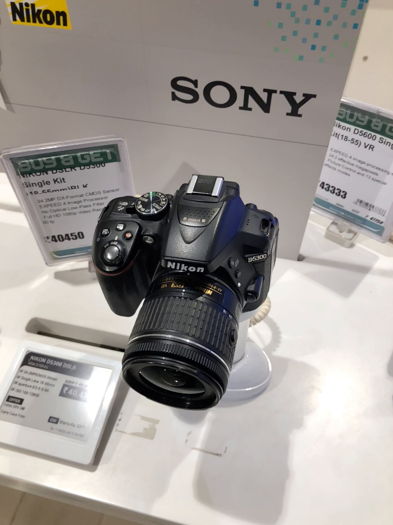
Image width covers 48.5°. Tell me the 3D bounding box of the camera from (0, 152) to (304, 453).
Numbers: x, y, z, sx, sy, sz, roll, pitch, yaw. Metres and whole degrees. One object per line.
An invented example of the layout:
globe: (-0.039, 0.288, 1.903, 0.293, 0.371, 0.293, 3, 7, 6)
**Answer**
camera: (-0.013, 0.019, 0.280, 0.140, 0.099, 0.141, 8, 48, 7)
